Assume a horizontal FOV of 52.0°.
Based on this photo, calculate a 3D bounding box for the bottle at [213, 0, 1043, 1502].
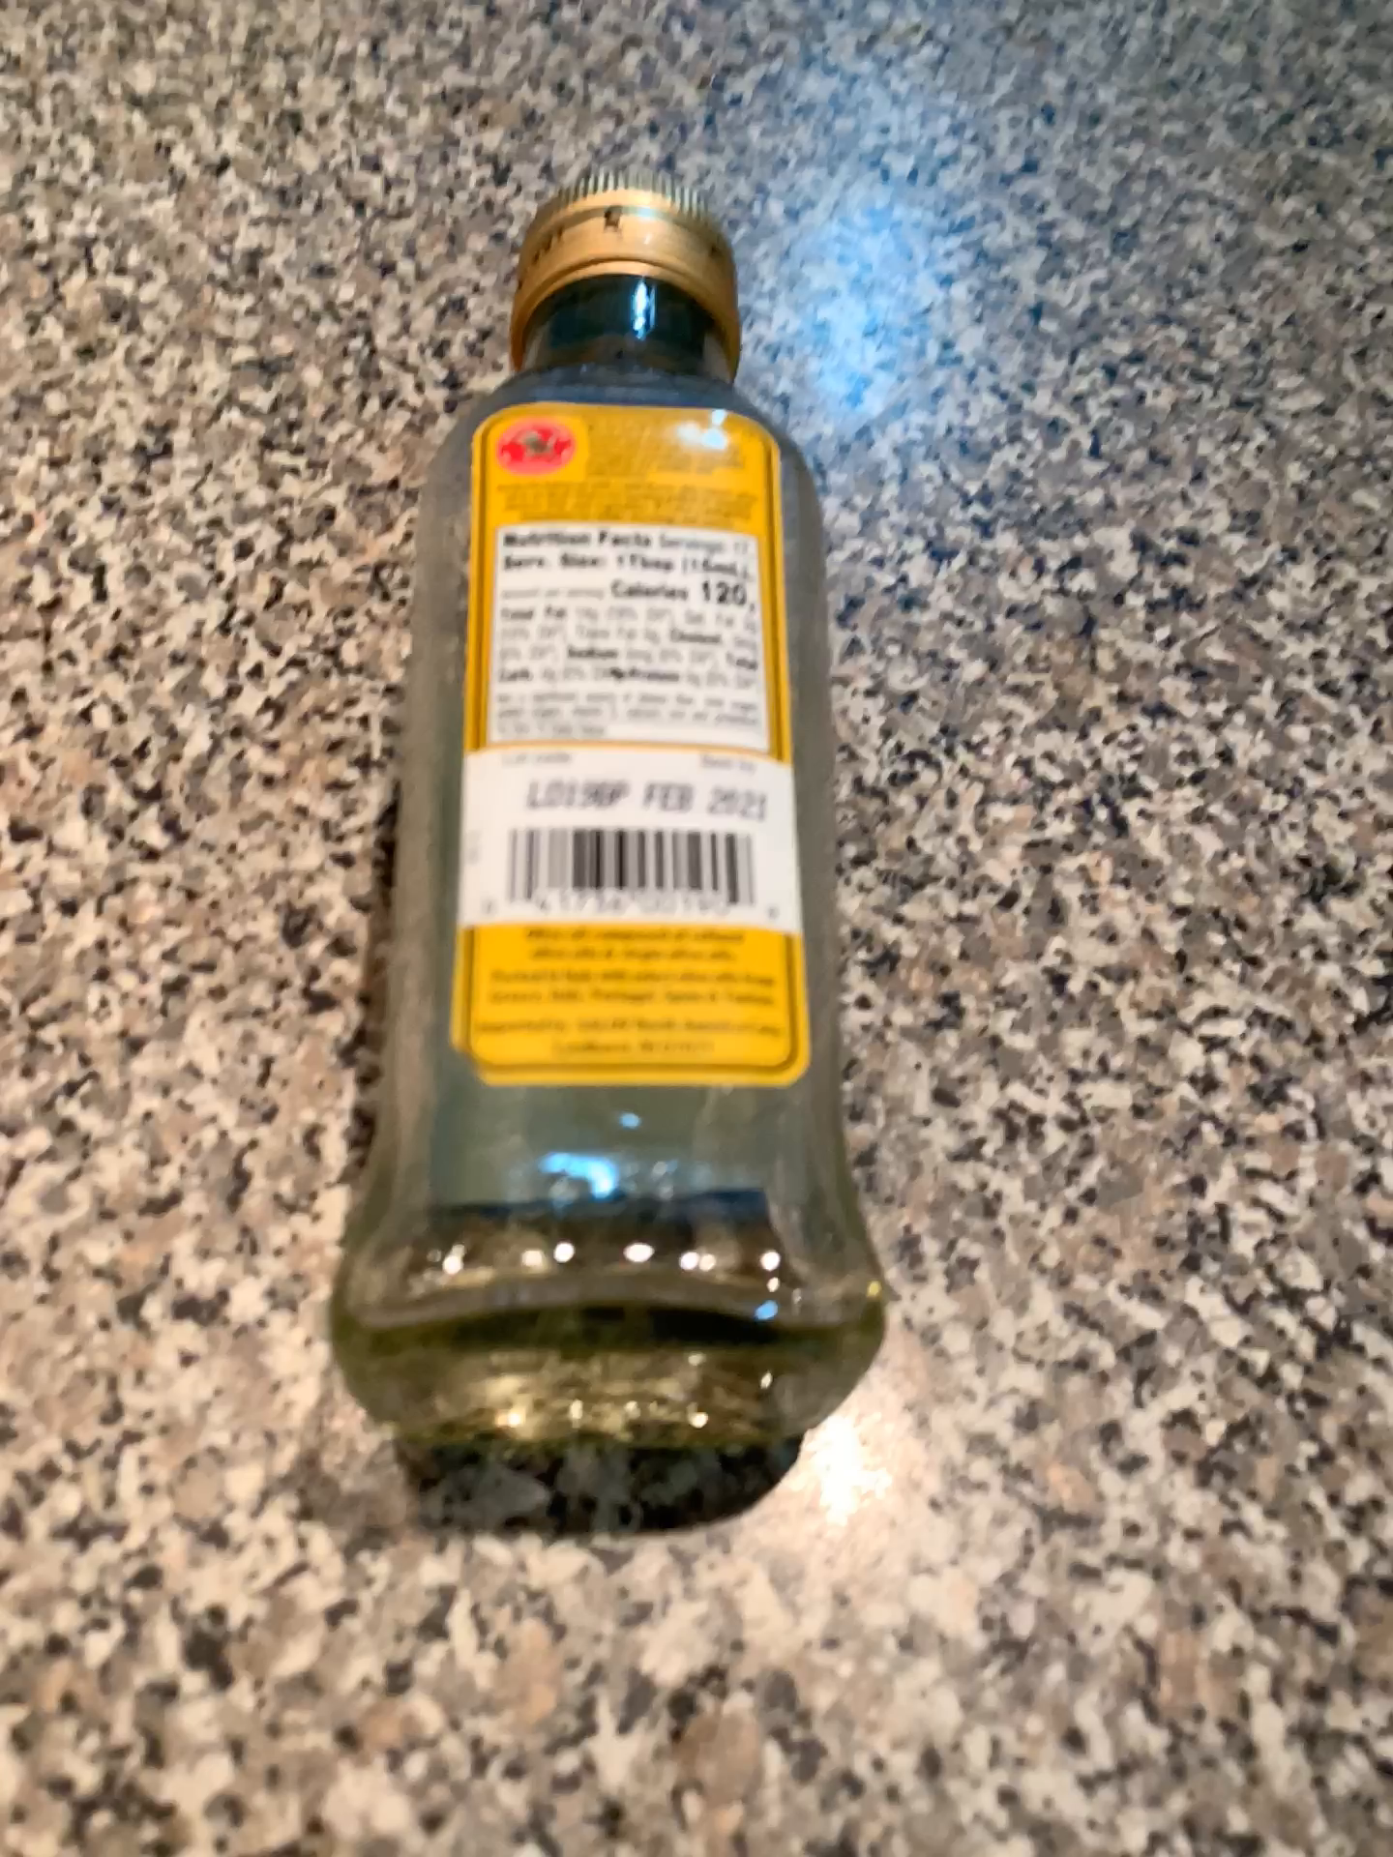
[{"bbox_3d":[-0.009,-0.031,0.175,0.060,0.060,0.180,2,59,-5],"label":"bottle"}]
